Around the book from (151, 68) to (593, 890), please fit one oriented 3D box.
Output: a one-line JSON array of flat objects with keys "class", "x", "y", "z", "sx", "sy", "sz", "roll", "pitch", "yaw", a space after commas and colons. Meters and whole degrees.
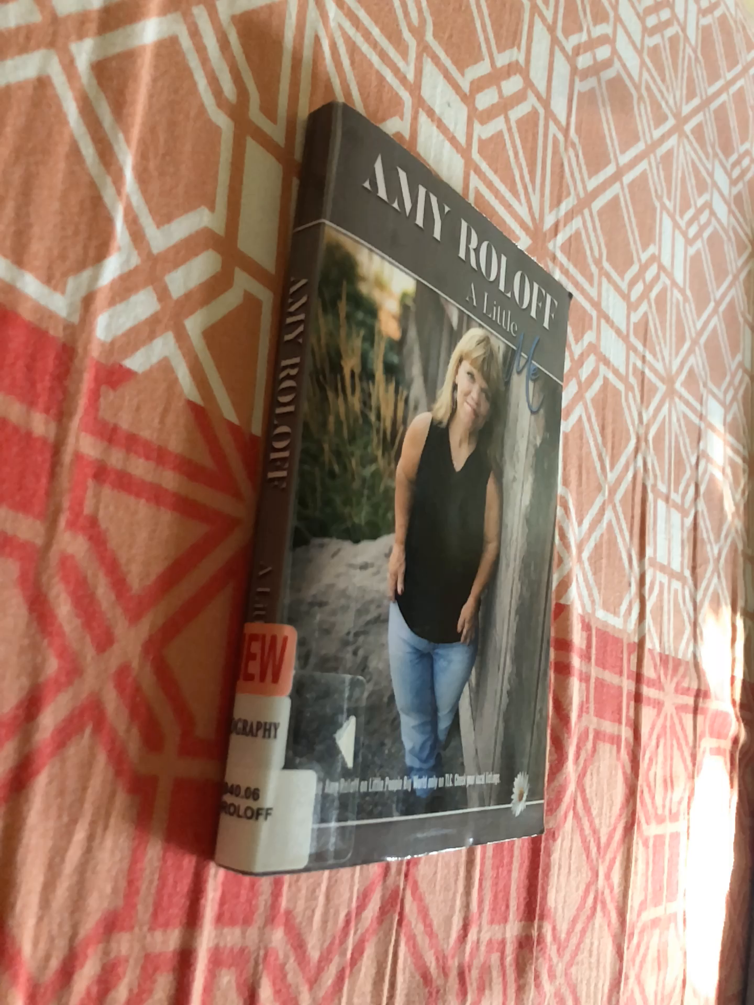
[{"class": "book", "x": 0.016, "y": 0.002, "z": 0.281, "sx": 0.159, "sy": 0.030, "sz": 0.215, "roll": 18, "pitch": 75, "yaw": -48}]
